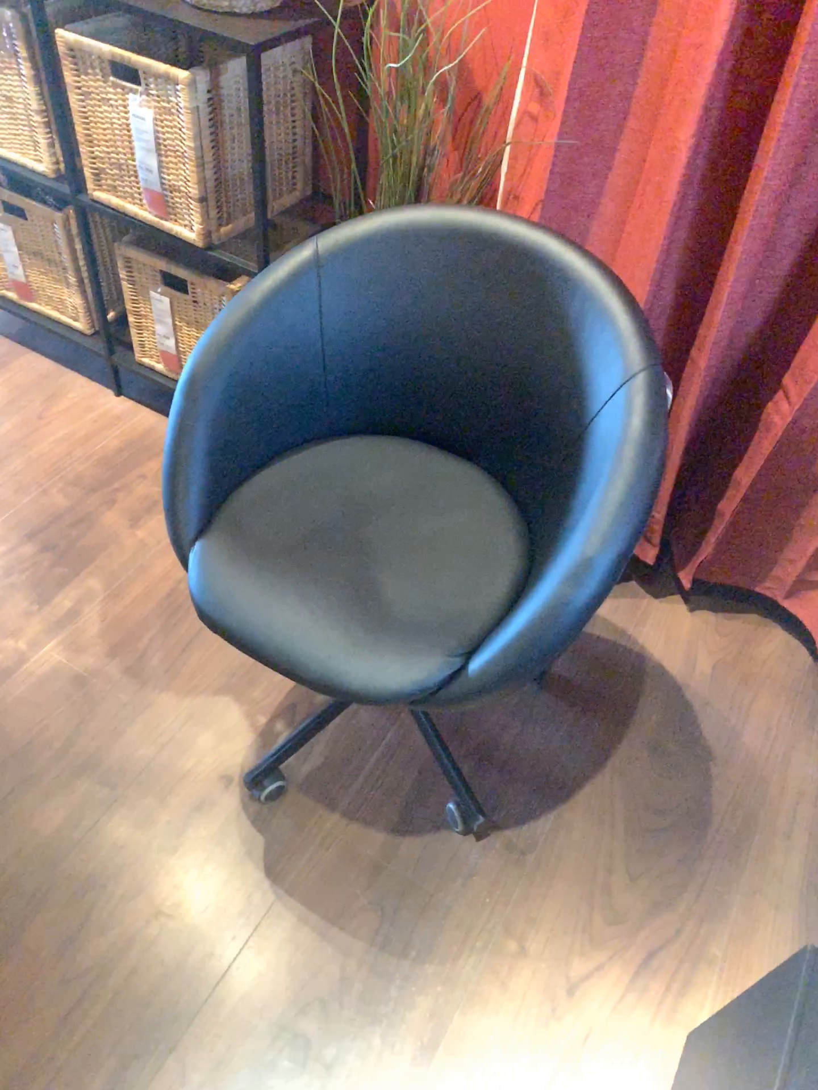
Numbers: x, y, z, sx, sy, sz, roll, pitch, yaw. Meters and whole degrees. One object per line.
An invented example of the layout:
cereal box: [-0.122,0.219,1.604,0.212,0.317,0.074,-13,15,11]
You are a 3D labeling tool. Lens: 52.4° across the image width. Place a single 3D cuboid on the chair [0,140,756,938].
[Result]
chair: [-0.034,-0.016,1.246,0.670,0.757,0.672,25,50,15]
